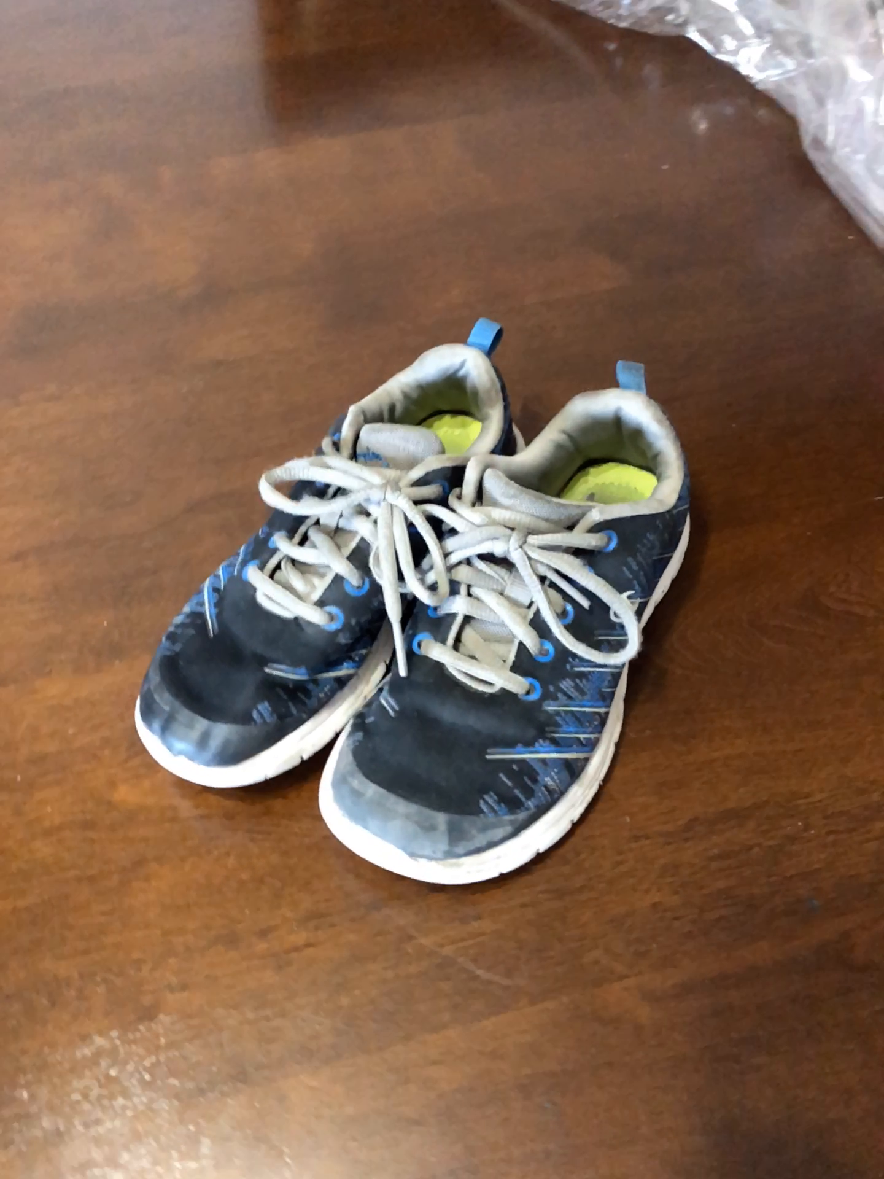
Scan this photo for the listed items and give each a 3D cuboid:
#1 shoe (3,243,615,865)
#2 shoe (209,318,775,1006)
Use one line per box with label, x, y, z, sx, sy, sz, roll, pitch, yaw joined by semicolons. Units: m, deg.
shoe;-0.035;-0.025;0.383;0.100;0.090;0.220;29;59;20
shoe;0.030;0.014;0.372;0.100;0.090;0.230;23;58;17
